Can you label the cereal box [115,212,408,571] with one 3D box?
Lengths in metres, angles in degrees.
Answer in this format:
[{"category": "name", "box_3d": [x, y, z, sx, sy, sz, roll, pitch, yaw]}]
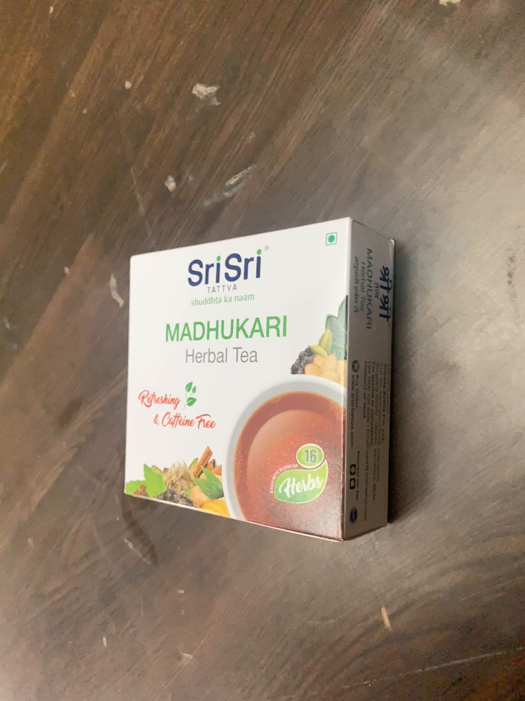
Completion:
[{"category": "cereal box", "box_3d": [-0.007, 0.014, 0.238, 0.131, 0.040, 0.120, -1, 89, 38]}]
